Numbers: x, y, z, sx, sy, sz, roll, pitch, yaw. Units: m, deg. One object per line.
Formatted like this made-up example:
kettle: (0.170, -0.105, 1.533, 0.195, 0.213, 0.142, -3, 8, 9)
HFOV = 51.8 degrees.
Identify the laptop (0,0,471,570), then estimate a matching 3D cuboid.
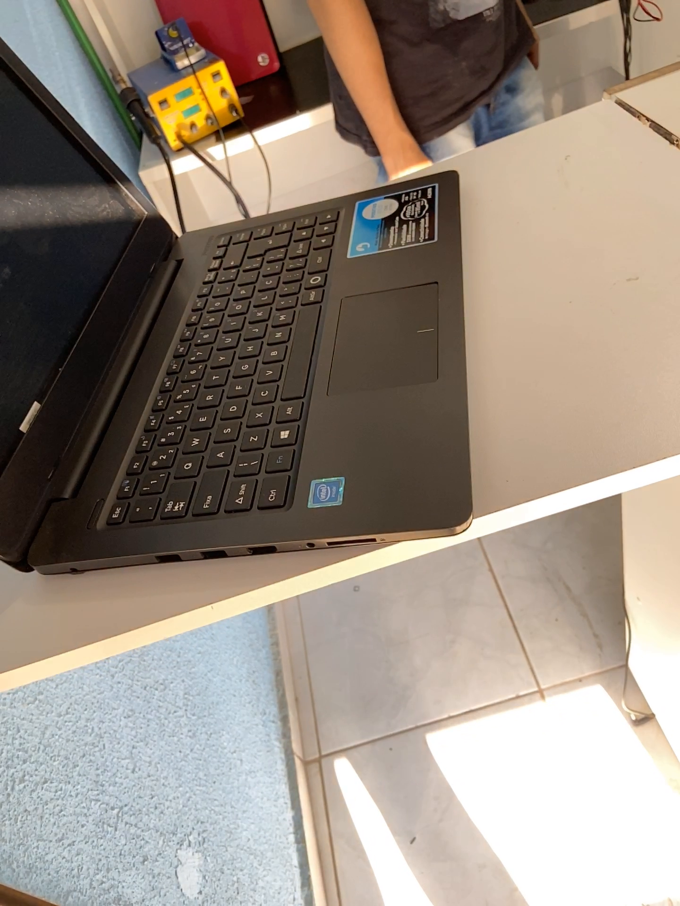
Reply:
laptop: (-0.108, -0.147, 0.396, 0.309, 0.214, 0.339, -7, 46, 16)
